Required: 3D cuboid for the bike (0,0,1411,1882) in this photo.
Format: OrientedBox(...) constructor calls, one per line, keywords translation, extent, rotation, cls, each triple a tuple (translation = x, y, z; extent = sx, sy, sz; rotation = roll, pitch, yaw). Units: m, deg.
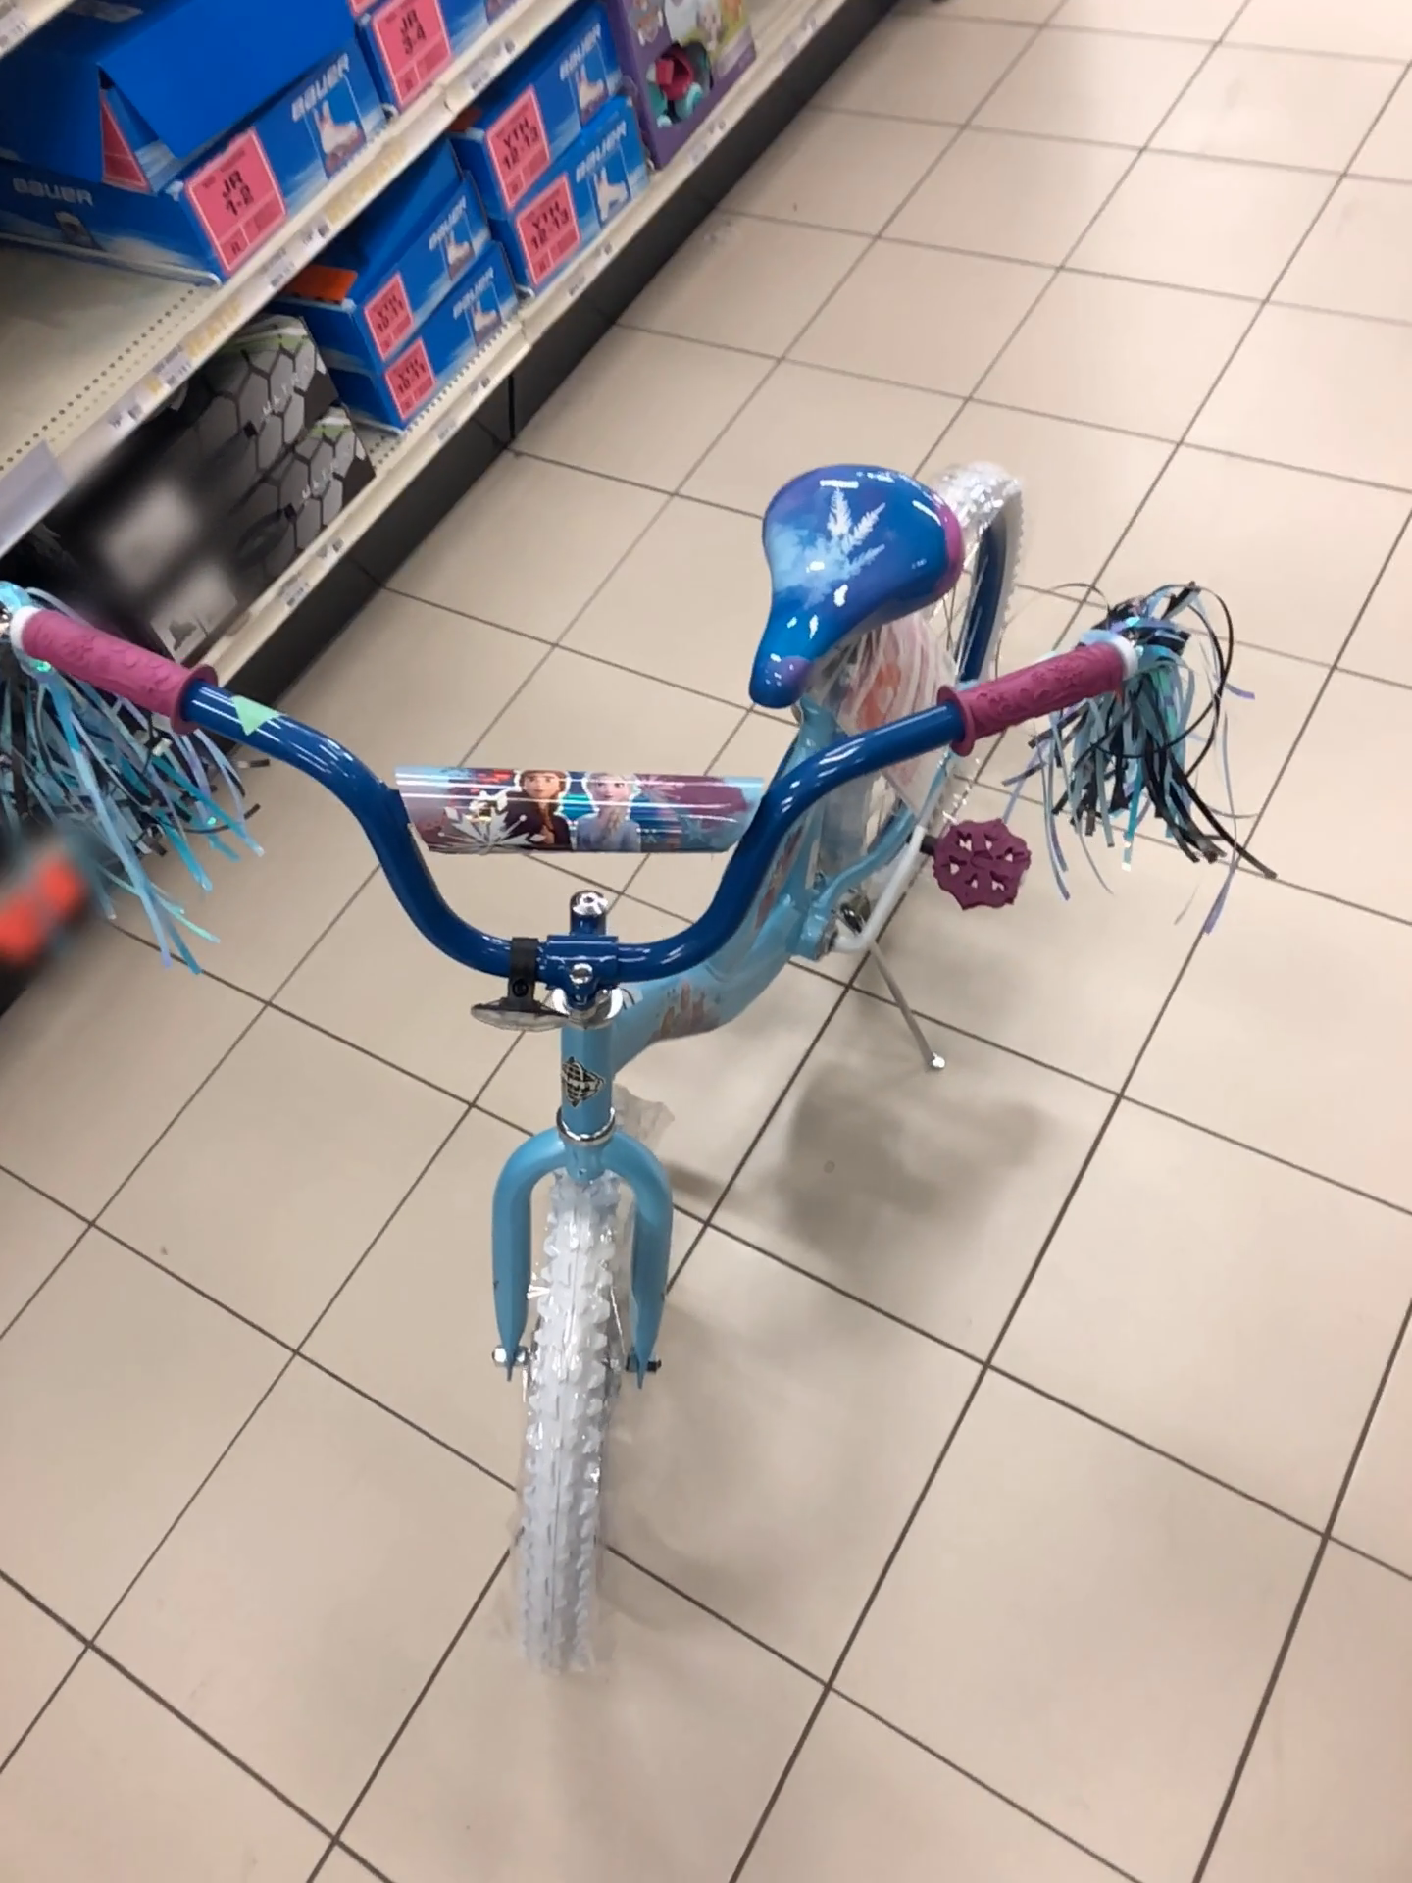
OrientedBox(translation=(0.078, -0.074, 1.175), extent=(0.641, 0.954, 1.178), rotation=(13, 58, 21), cls="bike")
